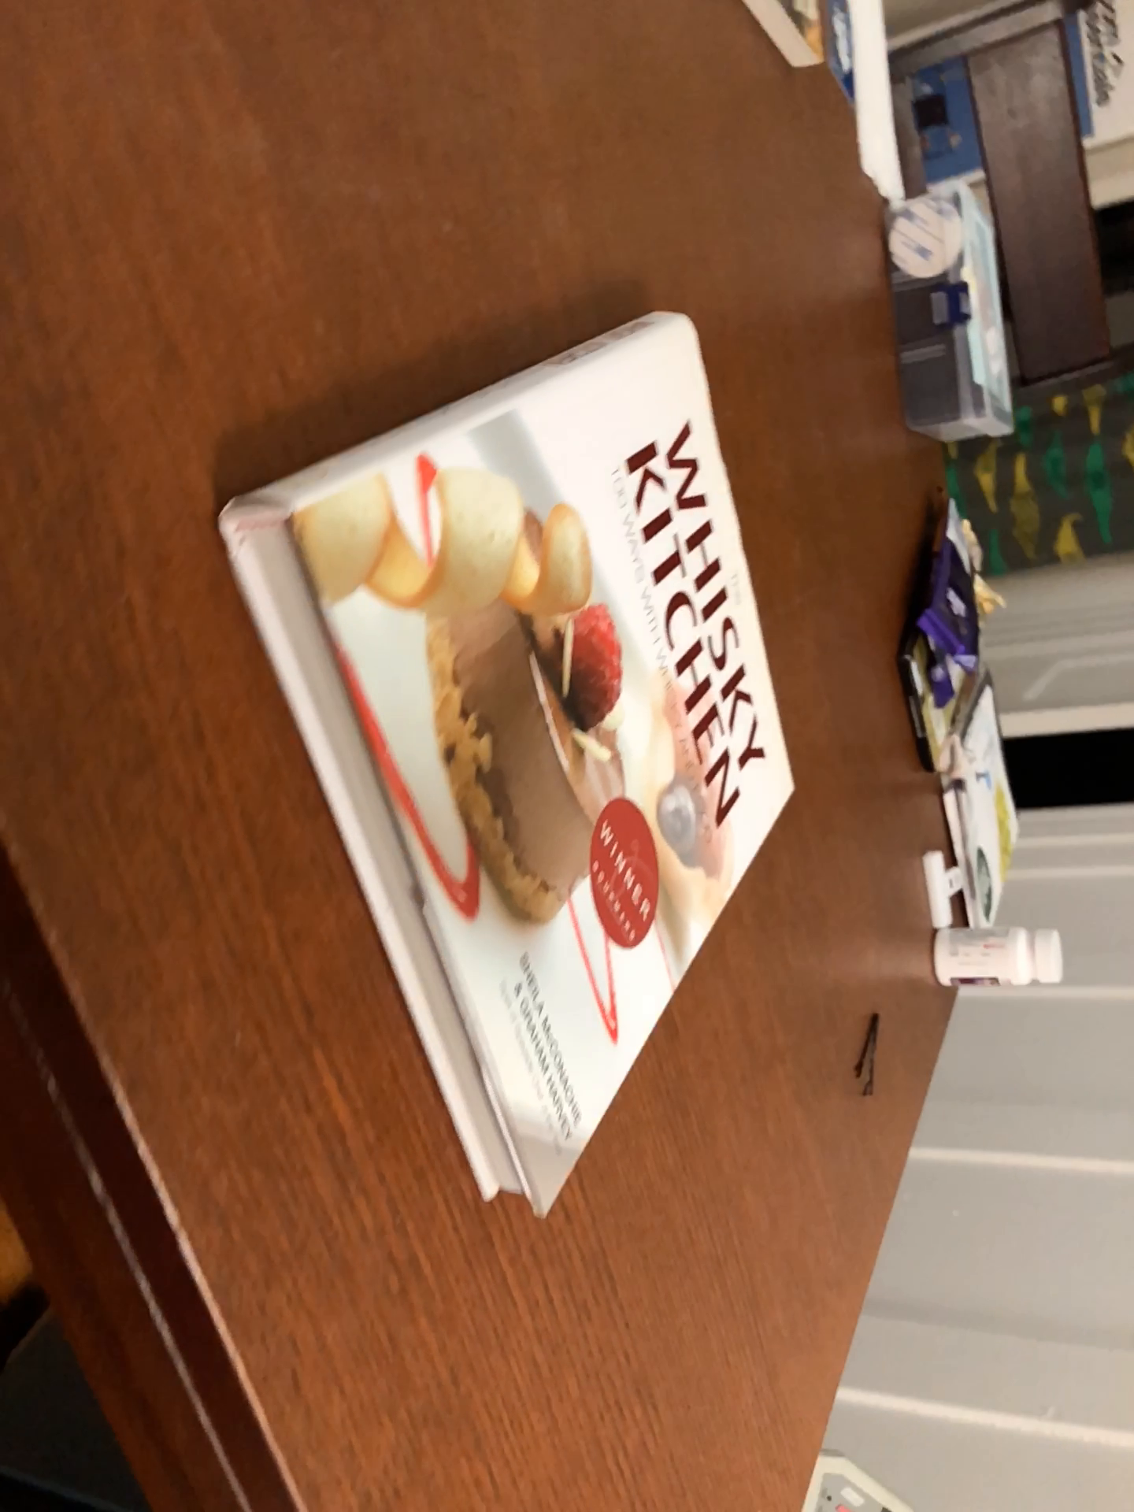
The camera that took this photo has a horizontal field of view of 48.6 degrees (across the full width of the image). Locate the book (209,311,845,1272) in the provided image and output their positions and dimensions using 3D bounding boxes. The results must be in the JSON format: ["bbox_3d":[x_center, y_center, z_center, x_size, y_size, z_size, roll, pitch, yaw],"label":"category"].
[{"bbox_3d":[0.021,-0.014,0.426,0.271,0.040,0.220,-46,125,-53],"label":"book"}]
